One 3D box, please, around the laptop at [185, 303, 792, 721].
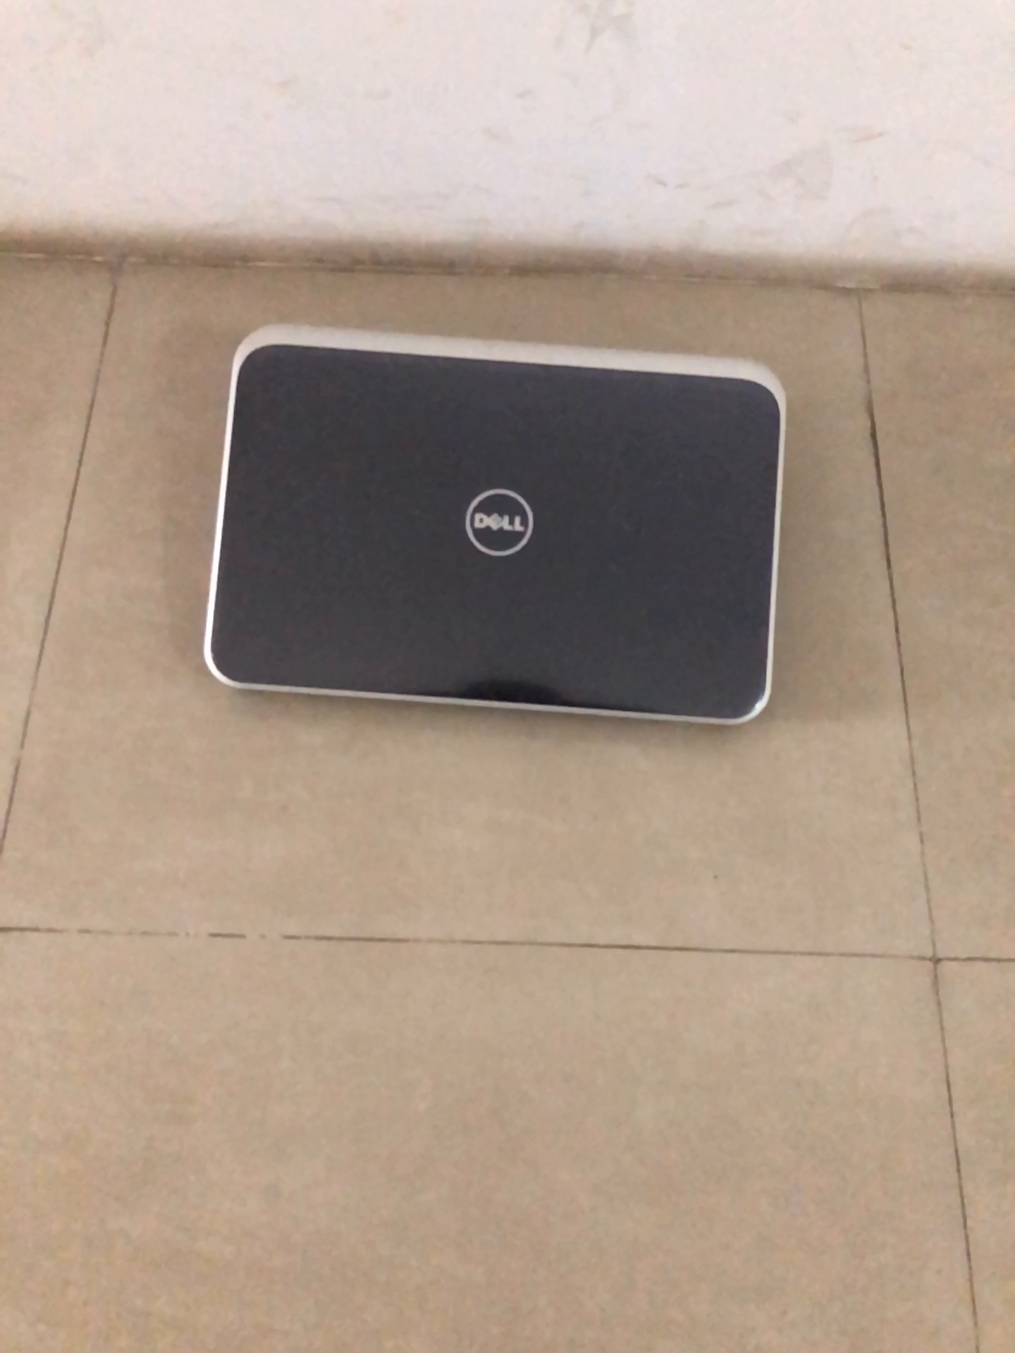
[{"bbox_3d":[-0.002,-0.109,0.741,0.360,0.080,0.235,5,69,-1],"label":"laptop"}]
